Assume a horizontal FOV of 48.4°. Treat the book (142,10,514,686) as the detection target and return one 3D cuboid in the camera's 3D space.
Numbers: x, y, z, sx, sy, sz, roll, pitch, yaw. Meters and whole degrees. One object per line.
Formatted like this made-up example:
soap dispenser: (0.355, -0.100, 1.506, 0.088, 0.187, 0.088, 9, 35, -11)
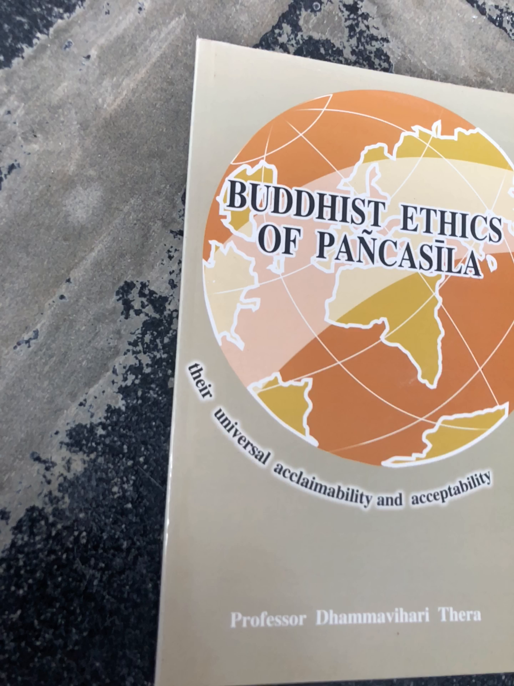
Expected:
book: (0.038, 0.000, 0.201, 0.140, 0.010, 0.220, 4, 82, -14)
